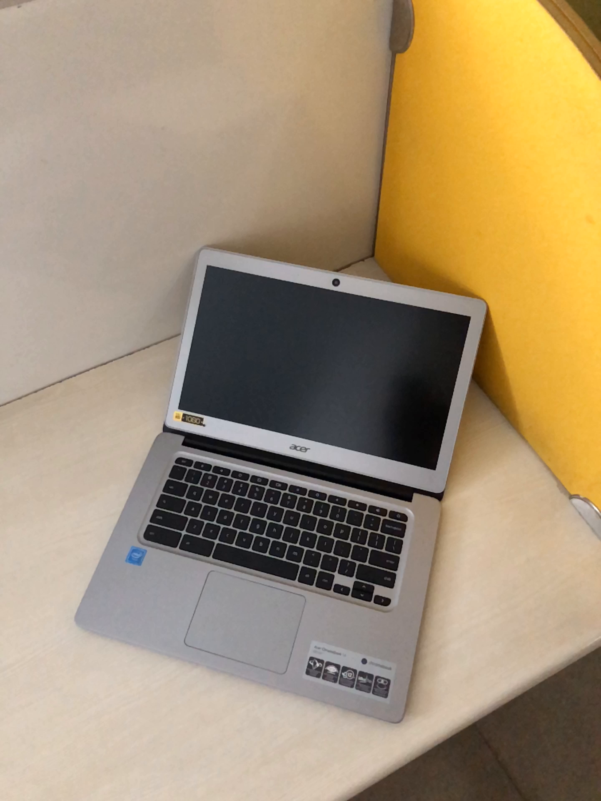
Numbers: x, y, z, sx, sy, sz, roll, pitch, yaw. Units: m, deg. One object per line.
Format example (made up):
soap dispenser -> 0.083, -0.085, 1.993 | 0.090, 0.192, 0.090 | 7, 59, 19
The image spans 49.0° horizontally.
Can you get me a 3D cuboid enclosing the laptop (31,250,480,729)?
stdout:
laptop -> -0.017, 0.065, 0.684 | 0.319, 0.124, 0.410 | 13, 60, 10
